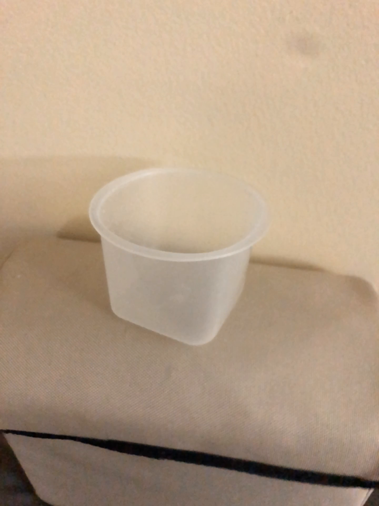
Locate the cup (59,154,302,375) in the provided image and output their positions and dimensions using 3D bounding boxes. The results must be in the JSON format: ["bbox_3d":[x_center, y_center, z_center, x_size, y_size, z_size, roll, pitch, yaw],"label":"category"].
[{"bbox_3d":[0.000,-0.001,0.199,0.080,0.046,0.076,1,39,-1],"label":"cup"}]
